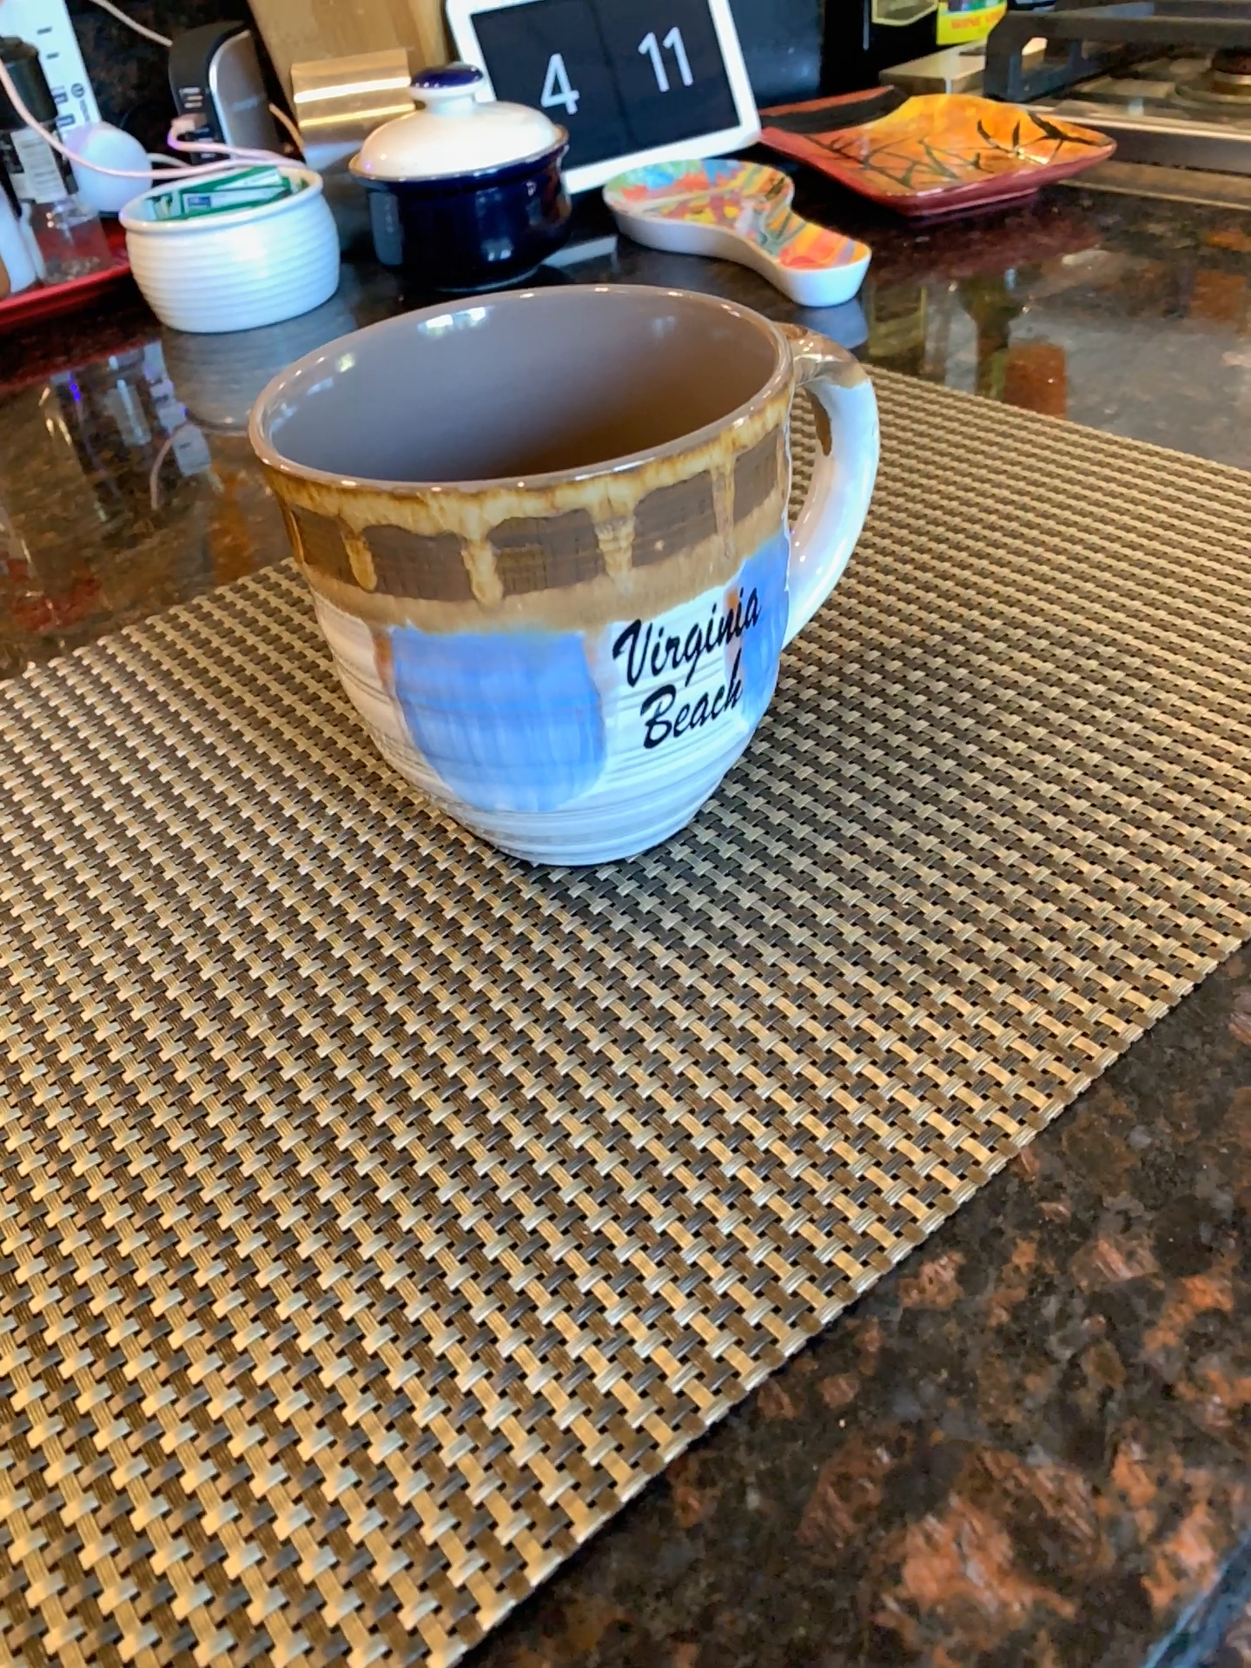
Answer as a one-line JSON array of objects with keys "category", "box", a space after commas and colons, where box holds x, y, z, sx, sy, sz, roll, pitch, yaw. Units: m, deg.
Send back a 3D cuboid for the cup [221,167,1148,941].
[{"category": "cup", "box": [0.014, -0.070, 0.279, 0.150, 0.090, 0.100, -28, 44, -22]}]
